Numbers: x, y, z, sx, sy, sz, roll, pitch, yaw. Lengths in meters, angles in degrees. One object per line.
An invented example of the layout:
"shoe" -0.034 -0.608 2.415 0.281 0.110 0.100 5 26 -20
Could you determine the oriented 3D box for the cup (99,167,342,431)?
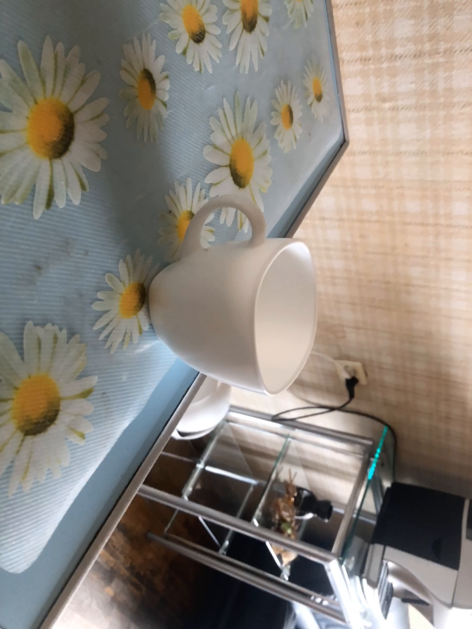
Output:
"cup" 0.002 -0.009 0.275 0.085 0.070 0.102 -61 145 -31
